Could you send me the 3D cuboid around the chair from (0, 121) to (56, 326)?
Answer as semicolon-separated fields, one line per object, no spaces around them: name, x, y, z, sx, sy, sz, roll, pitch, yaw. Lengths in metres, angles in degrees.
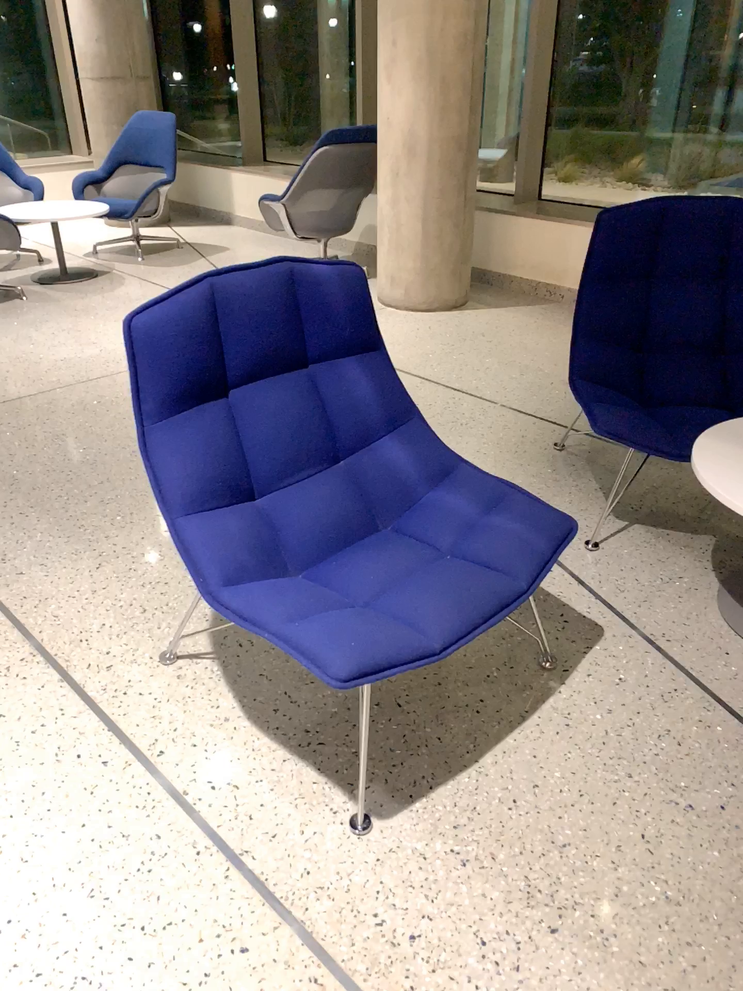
chair;-2.485;-1.608;4.393;0.803;0.932;0.774;24;37;35

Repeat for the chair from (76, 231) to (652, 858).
chair;-0.012;0.003;1.710;0.811;0.932;0.783;-26;39;-38

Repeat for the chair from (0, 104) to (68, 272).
chair;-2.702;-2.152;5.254;0.773;0.942;0.673;24;38;36

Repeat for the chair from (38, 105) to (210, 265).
chair;-1.814;-2.353;5.689;0.782;0.972;0.765;16;33;26

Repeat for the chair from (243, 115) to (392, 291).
chair;-0.365;-2.010;5.157;0.642;0.962;0.774;-21;37;-32
